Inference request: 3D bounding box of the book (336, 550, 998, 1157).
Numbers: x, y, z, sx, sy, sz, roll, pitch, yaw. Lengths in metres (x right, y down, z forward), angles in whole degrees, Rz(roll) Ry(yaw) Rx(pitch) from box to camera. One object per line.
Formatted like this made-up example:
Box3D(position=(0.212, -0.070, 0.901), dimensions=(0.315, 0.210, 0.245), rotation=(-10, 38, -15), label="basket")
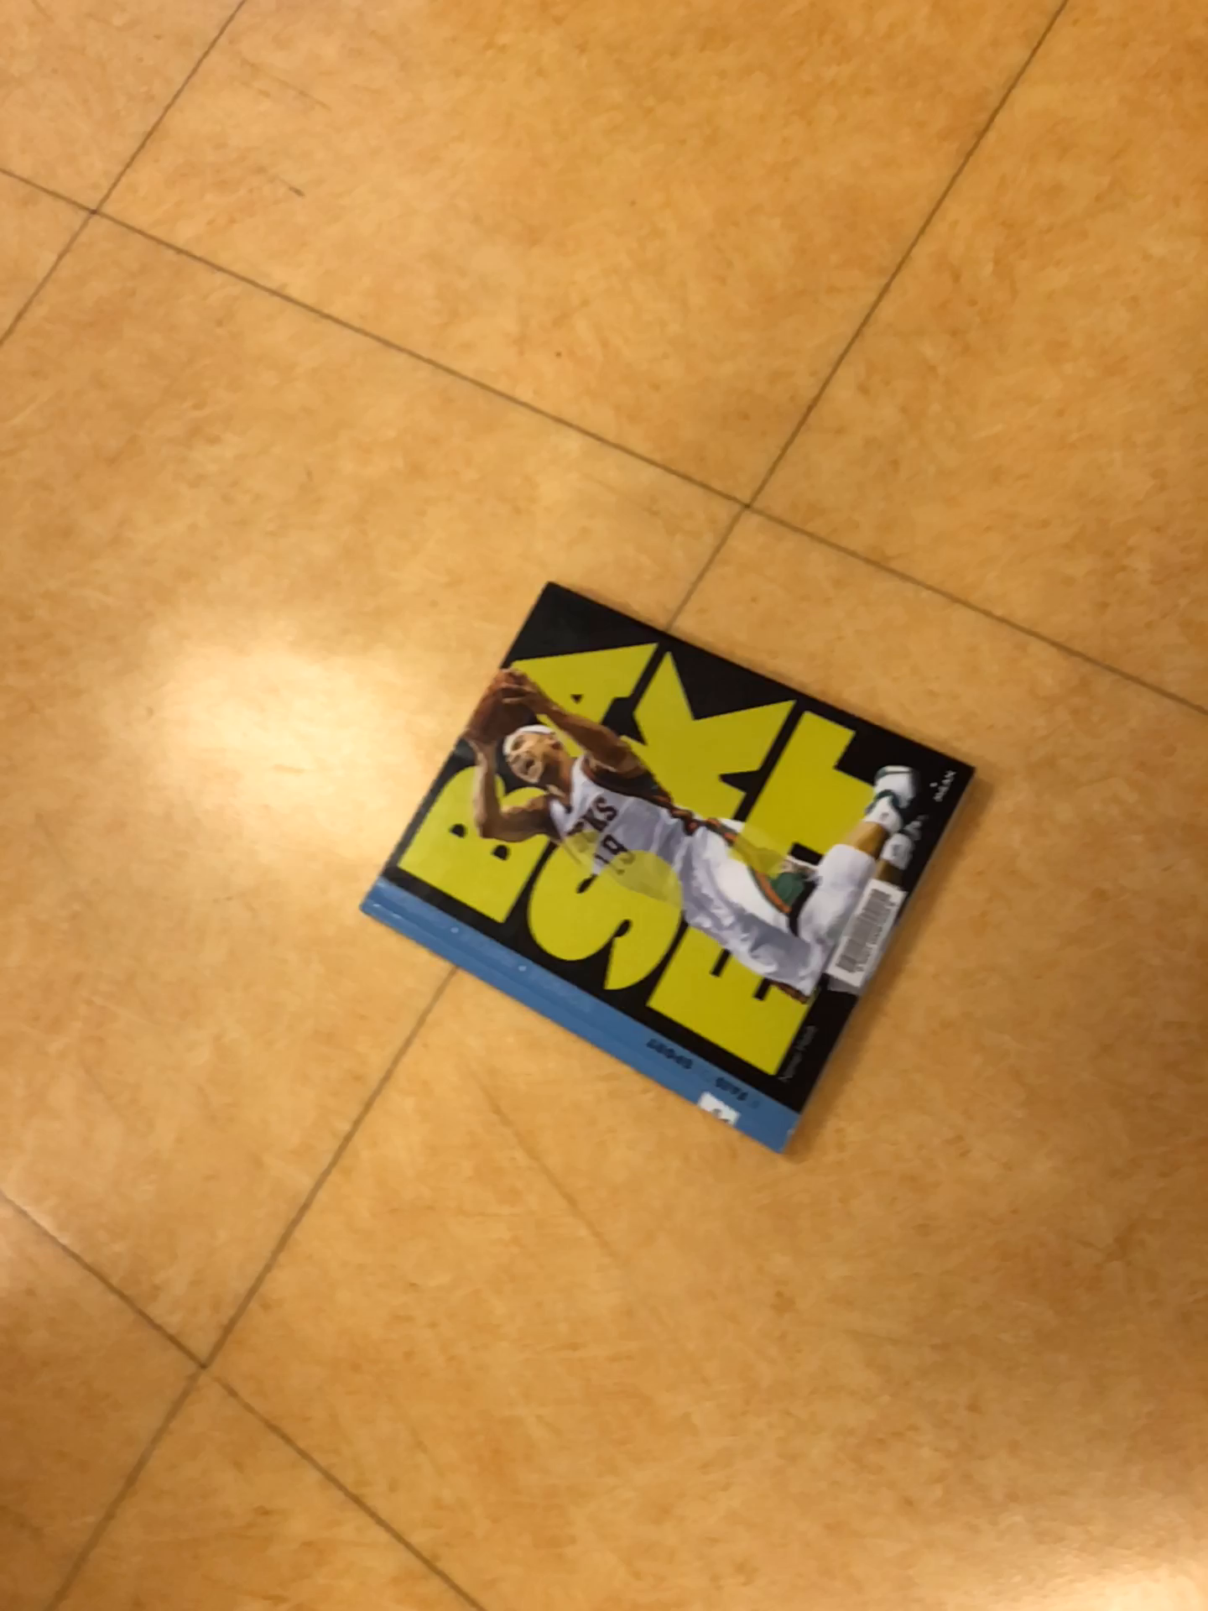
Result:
Box3D(position=(0.024, 0.011, 0.620), dimensions=(0.244, 0.020, 0.200), rotation=(26, 81, 21), label="book")
